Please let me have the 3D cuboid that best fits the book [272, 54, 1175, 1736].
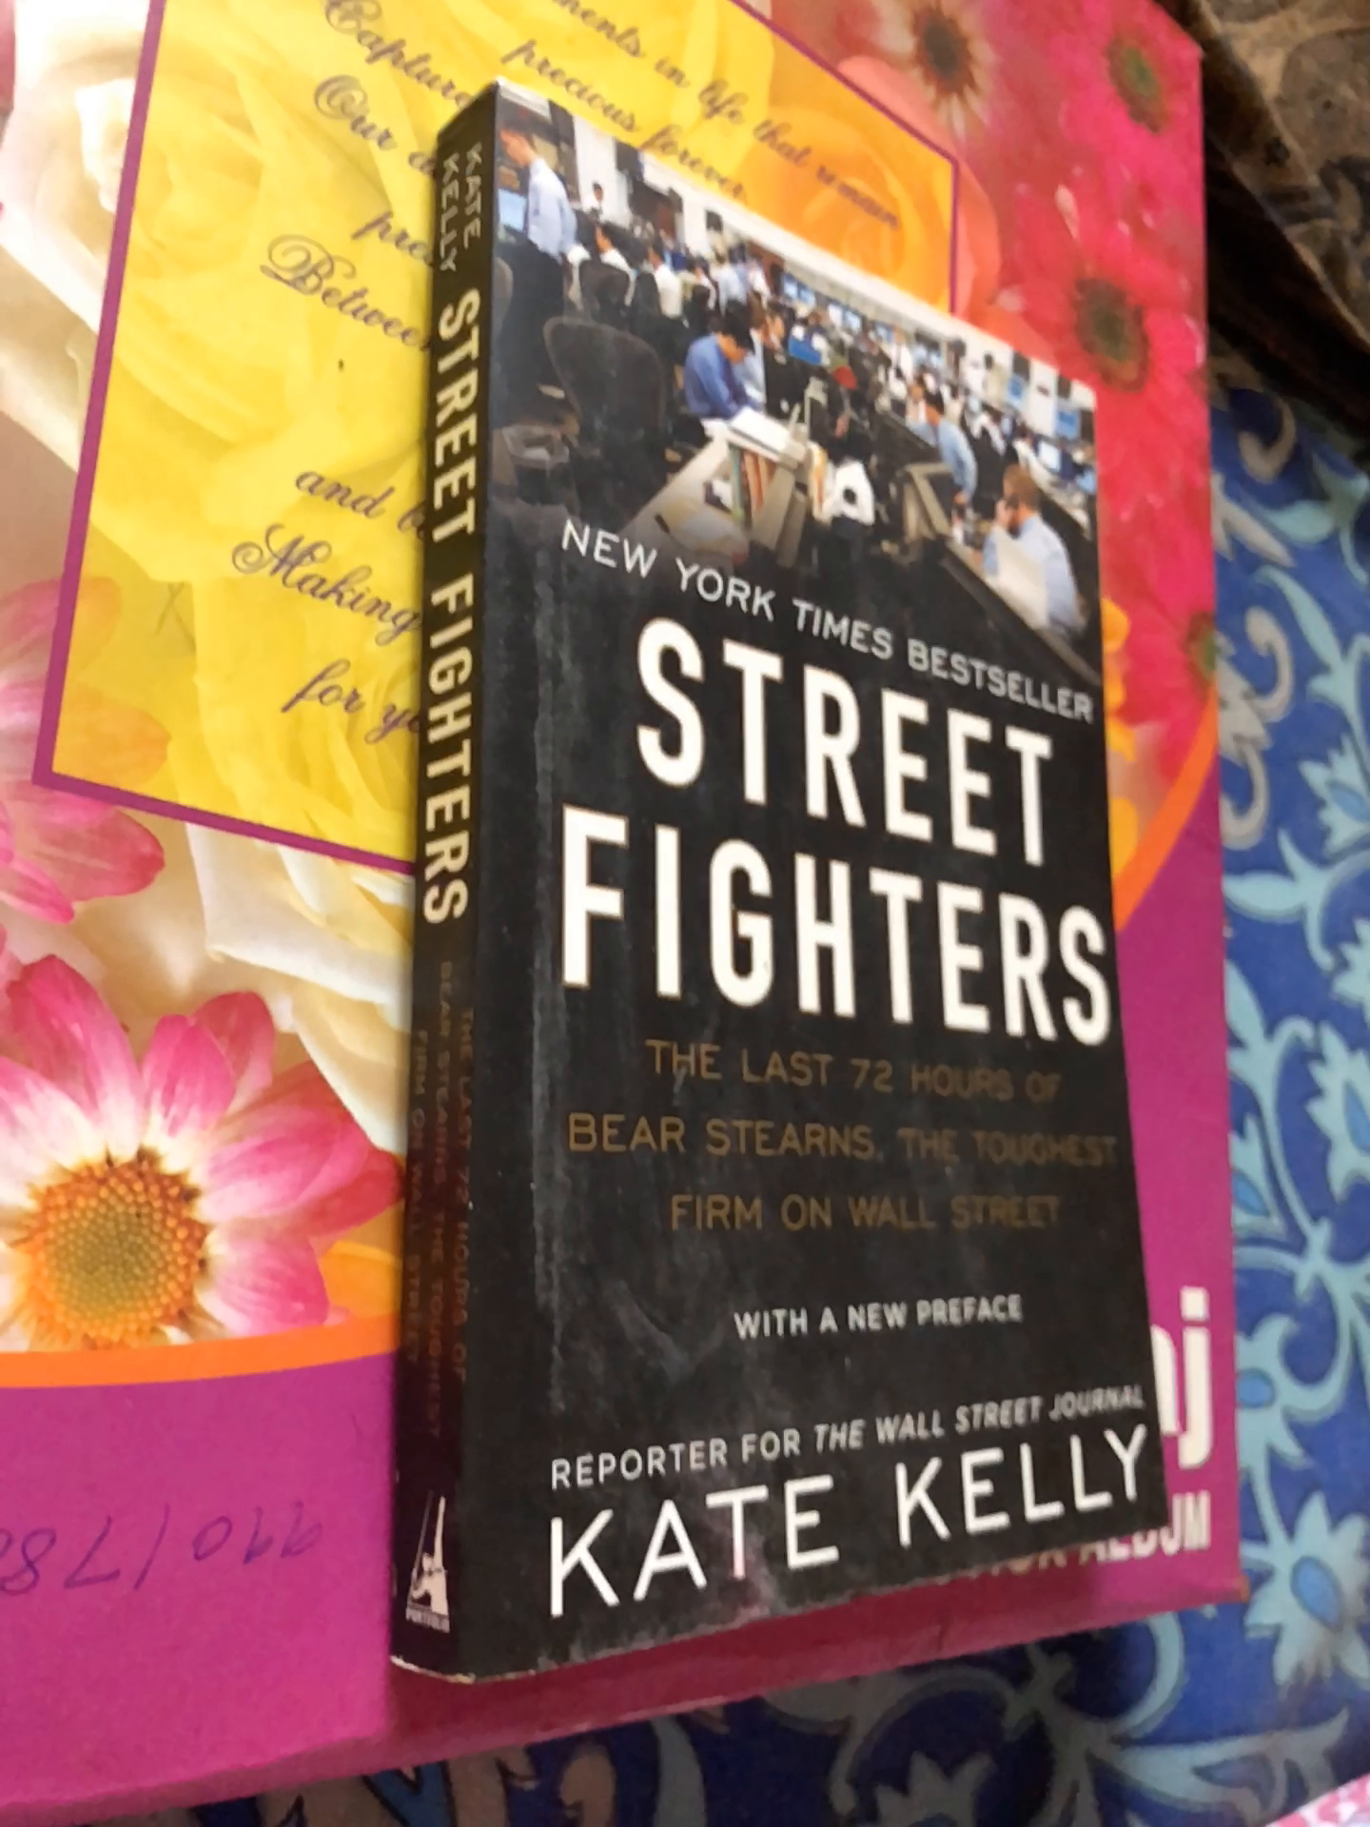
[{"bbox_3d":[0.015,-0.003,0.242,0.141,0.030,0.210,8,77,-35],"label":"book"}]
